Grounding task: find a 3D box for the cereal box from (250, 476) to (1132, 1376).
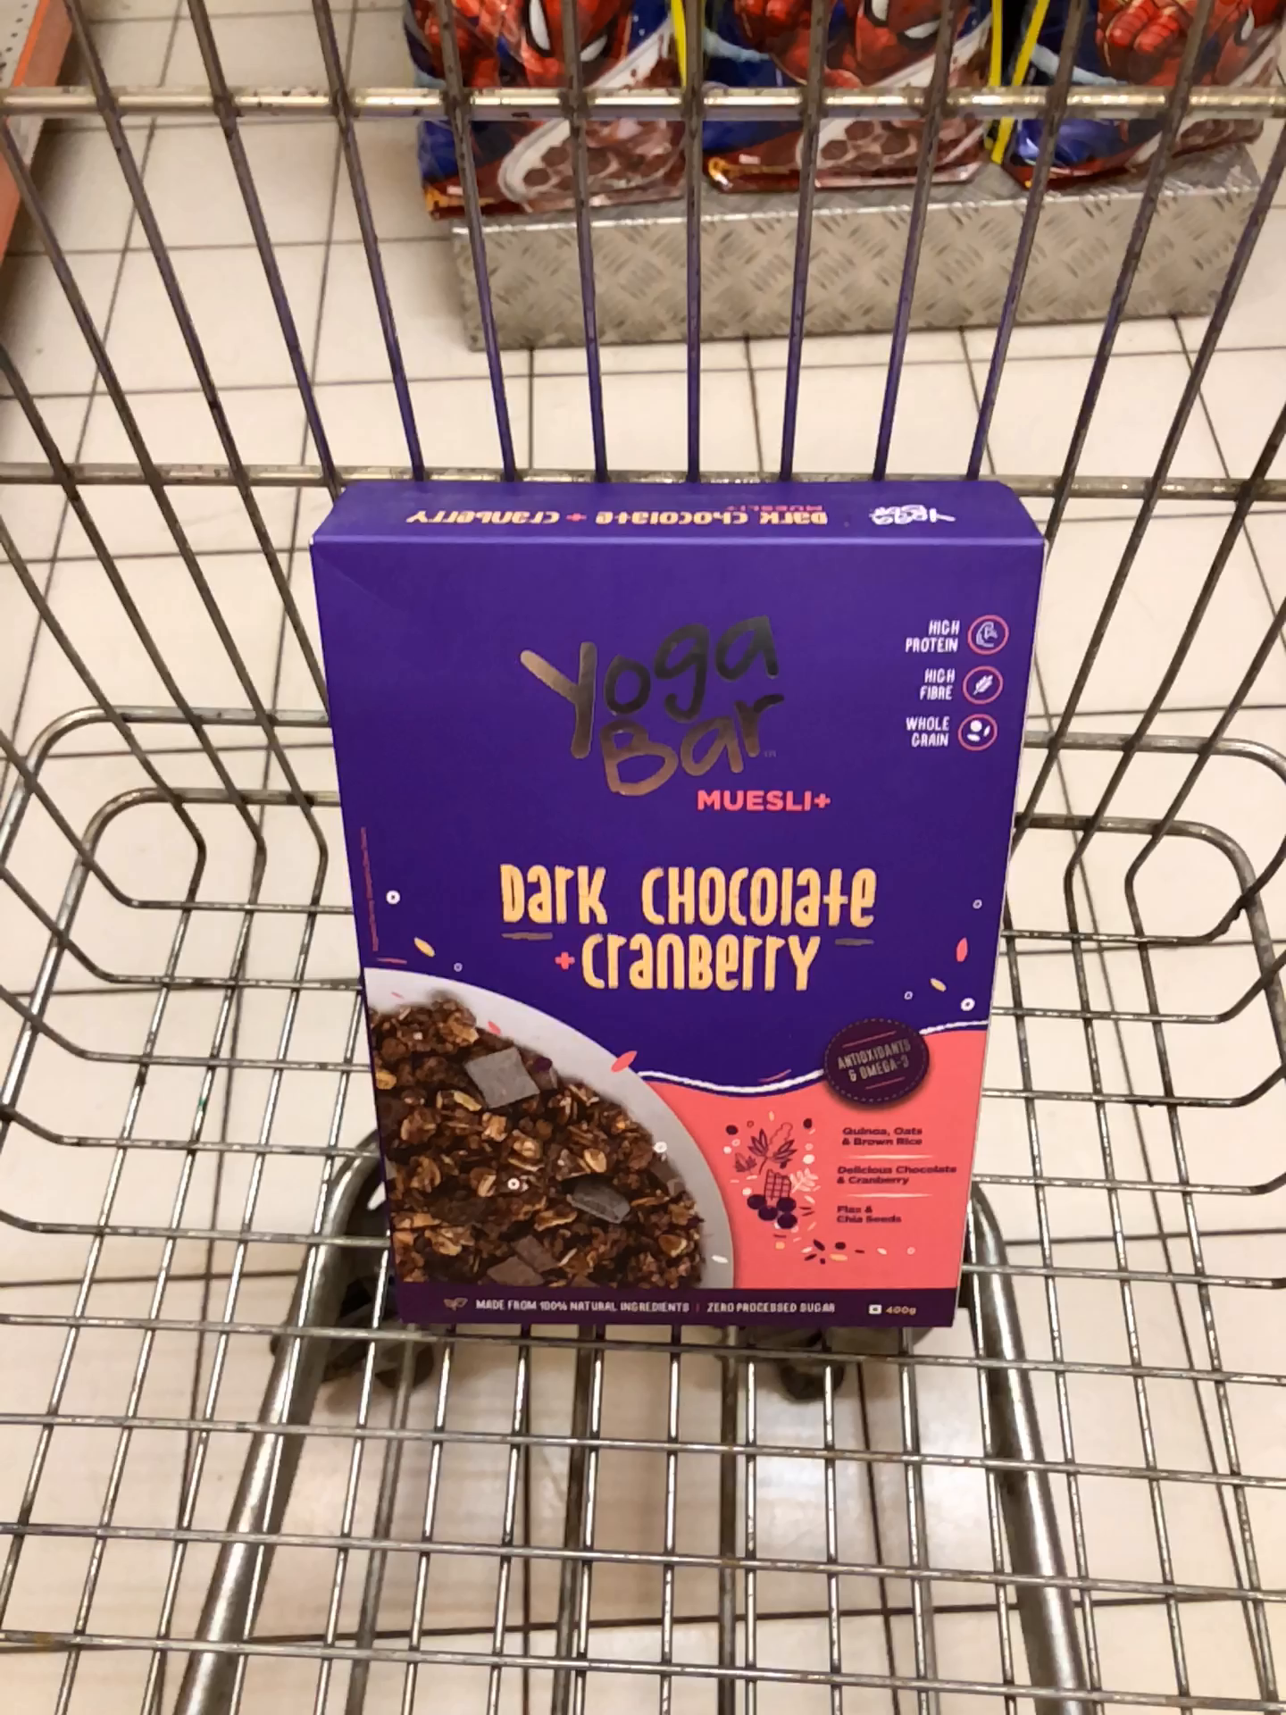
[{"bbox_3d":[0.011,0.024,0.368,0.180,0.229,0.060,0,26,2],"label":"cereal box"}]
